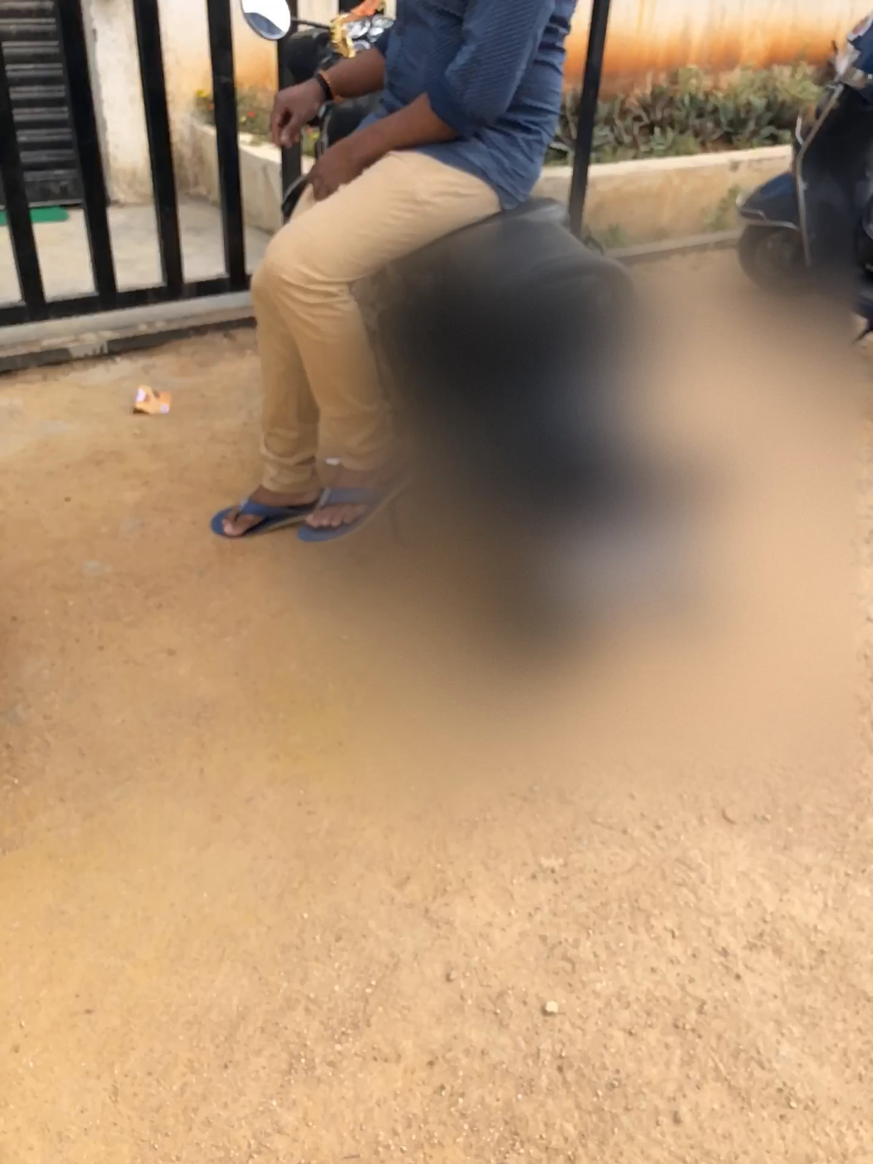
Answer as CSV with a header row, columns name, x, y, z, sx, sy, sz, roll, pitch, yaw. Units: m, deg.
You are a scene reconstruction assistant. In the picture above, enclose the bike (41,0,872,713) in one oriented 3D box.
name,x,y,z,sx,sy,sz,roll,pitch,yaw
bike,-0.193,-0.880,2.069,0.725,1.169,1.810,-12,43,-22
